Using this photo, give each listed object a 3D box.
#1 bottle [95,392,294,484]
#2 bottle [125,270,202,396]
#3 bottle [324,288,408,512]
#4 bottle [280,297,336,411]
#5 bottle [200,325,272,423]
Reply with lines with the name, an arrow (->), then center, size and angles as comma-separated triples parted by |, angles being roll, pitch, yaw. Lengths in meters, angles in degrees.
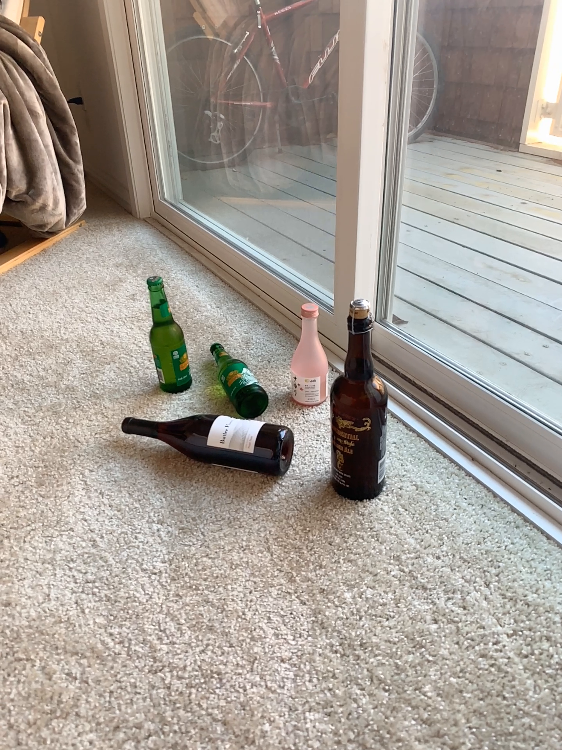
bottle -> -0.130, 0.091, 0.869 | 0.290, 0.060, 0.070 | 8, 33, 15
bottle -> -0.204, -0.074, 1.021 | 0.080, 0.199, 0.080 | -1, 32, 1
bottle -> 0.111, 0.039, 0.774 | 0.080, 0.288, 0.090 | 9, 33, 17
bottle -> 0.048, -0.035, 0.982 | 0.070, 0.169, 0.080 | 9, 33, 17
bottle -> -0.086, -0.008, 1.040 | 0.060, 0.060, 0.231 | -13, 34, -17
